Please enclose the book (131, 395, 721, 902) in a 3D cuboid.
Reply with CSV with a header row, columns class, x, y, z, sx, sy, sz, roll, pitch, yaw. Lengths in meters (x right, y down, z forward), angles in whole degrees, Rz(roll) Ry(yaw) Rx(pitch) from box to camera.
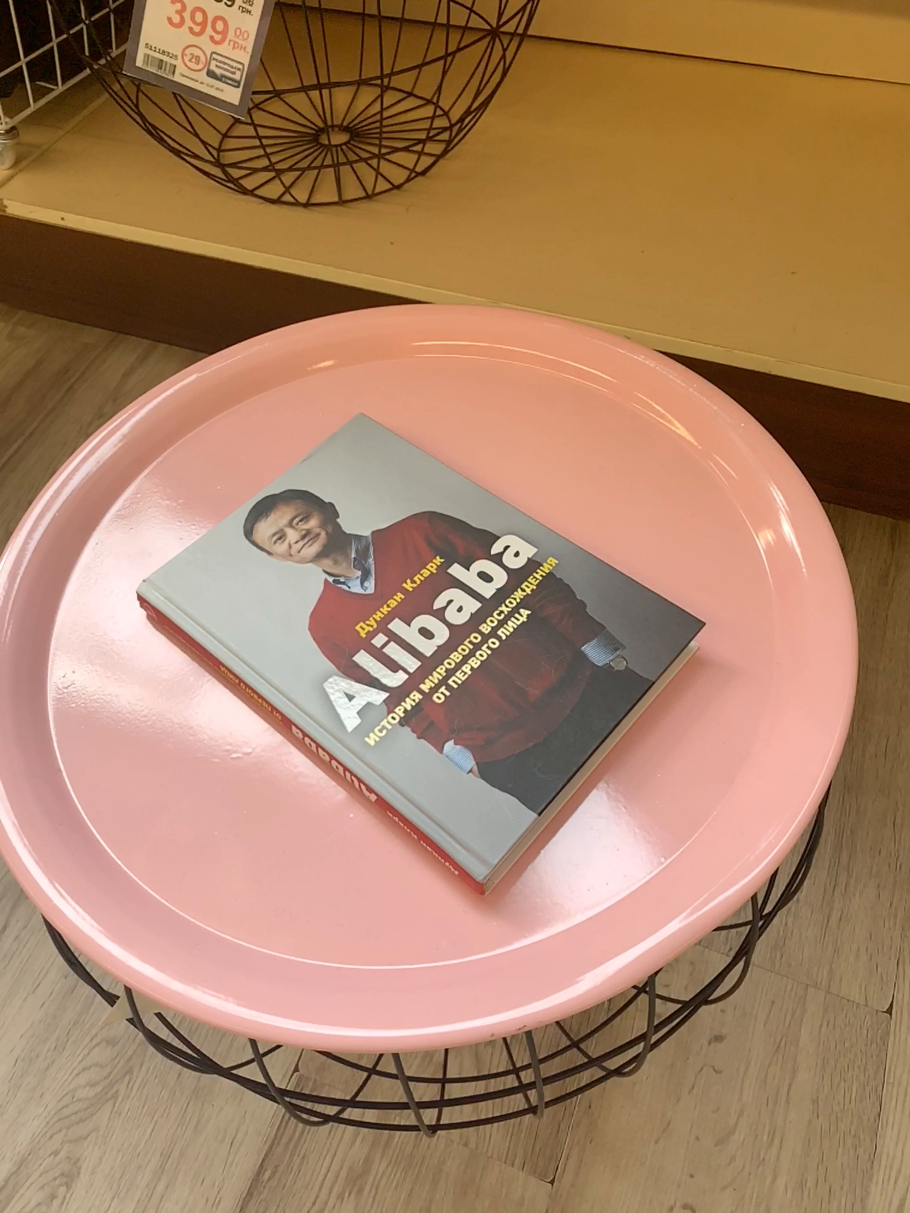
class,x,y,z,sx,sy,sz,roll,pitch,yaw
book,-0.018,0.001,0.481,0.240,0.026,0.180,35,64,25
